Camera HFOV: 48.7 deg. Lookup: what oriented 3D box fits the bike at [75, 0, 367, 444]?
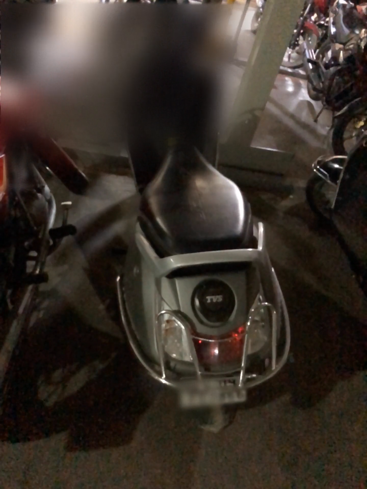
[{"bbox_3d":[-0.039,-0.178,1.585,0.602,1.094,1.387,5,42,-14],"label":"bike"}]
